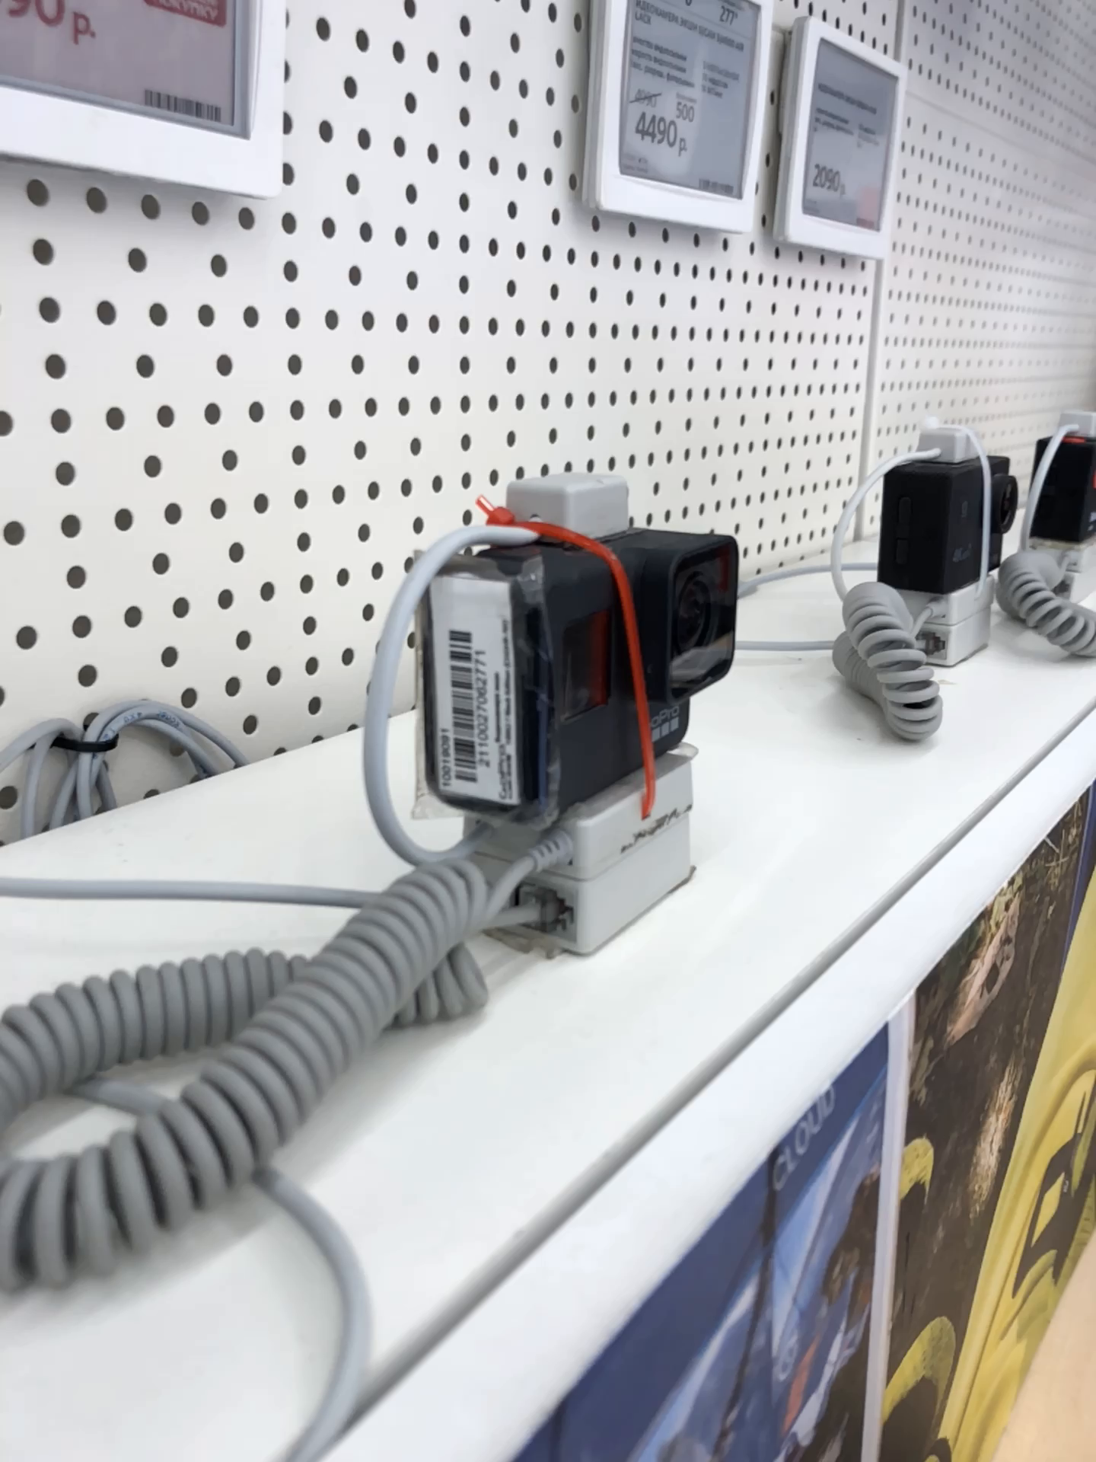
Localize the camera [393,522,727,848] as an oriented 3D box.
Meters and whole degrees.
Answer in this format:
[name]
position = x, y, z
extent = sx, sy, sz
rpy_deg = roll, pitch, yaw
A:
[camera]
position = 0.005, -0.012, 0.221
extent = 0.032, 0.043, 0.064
rpy_deg = 10, 19, 29
